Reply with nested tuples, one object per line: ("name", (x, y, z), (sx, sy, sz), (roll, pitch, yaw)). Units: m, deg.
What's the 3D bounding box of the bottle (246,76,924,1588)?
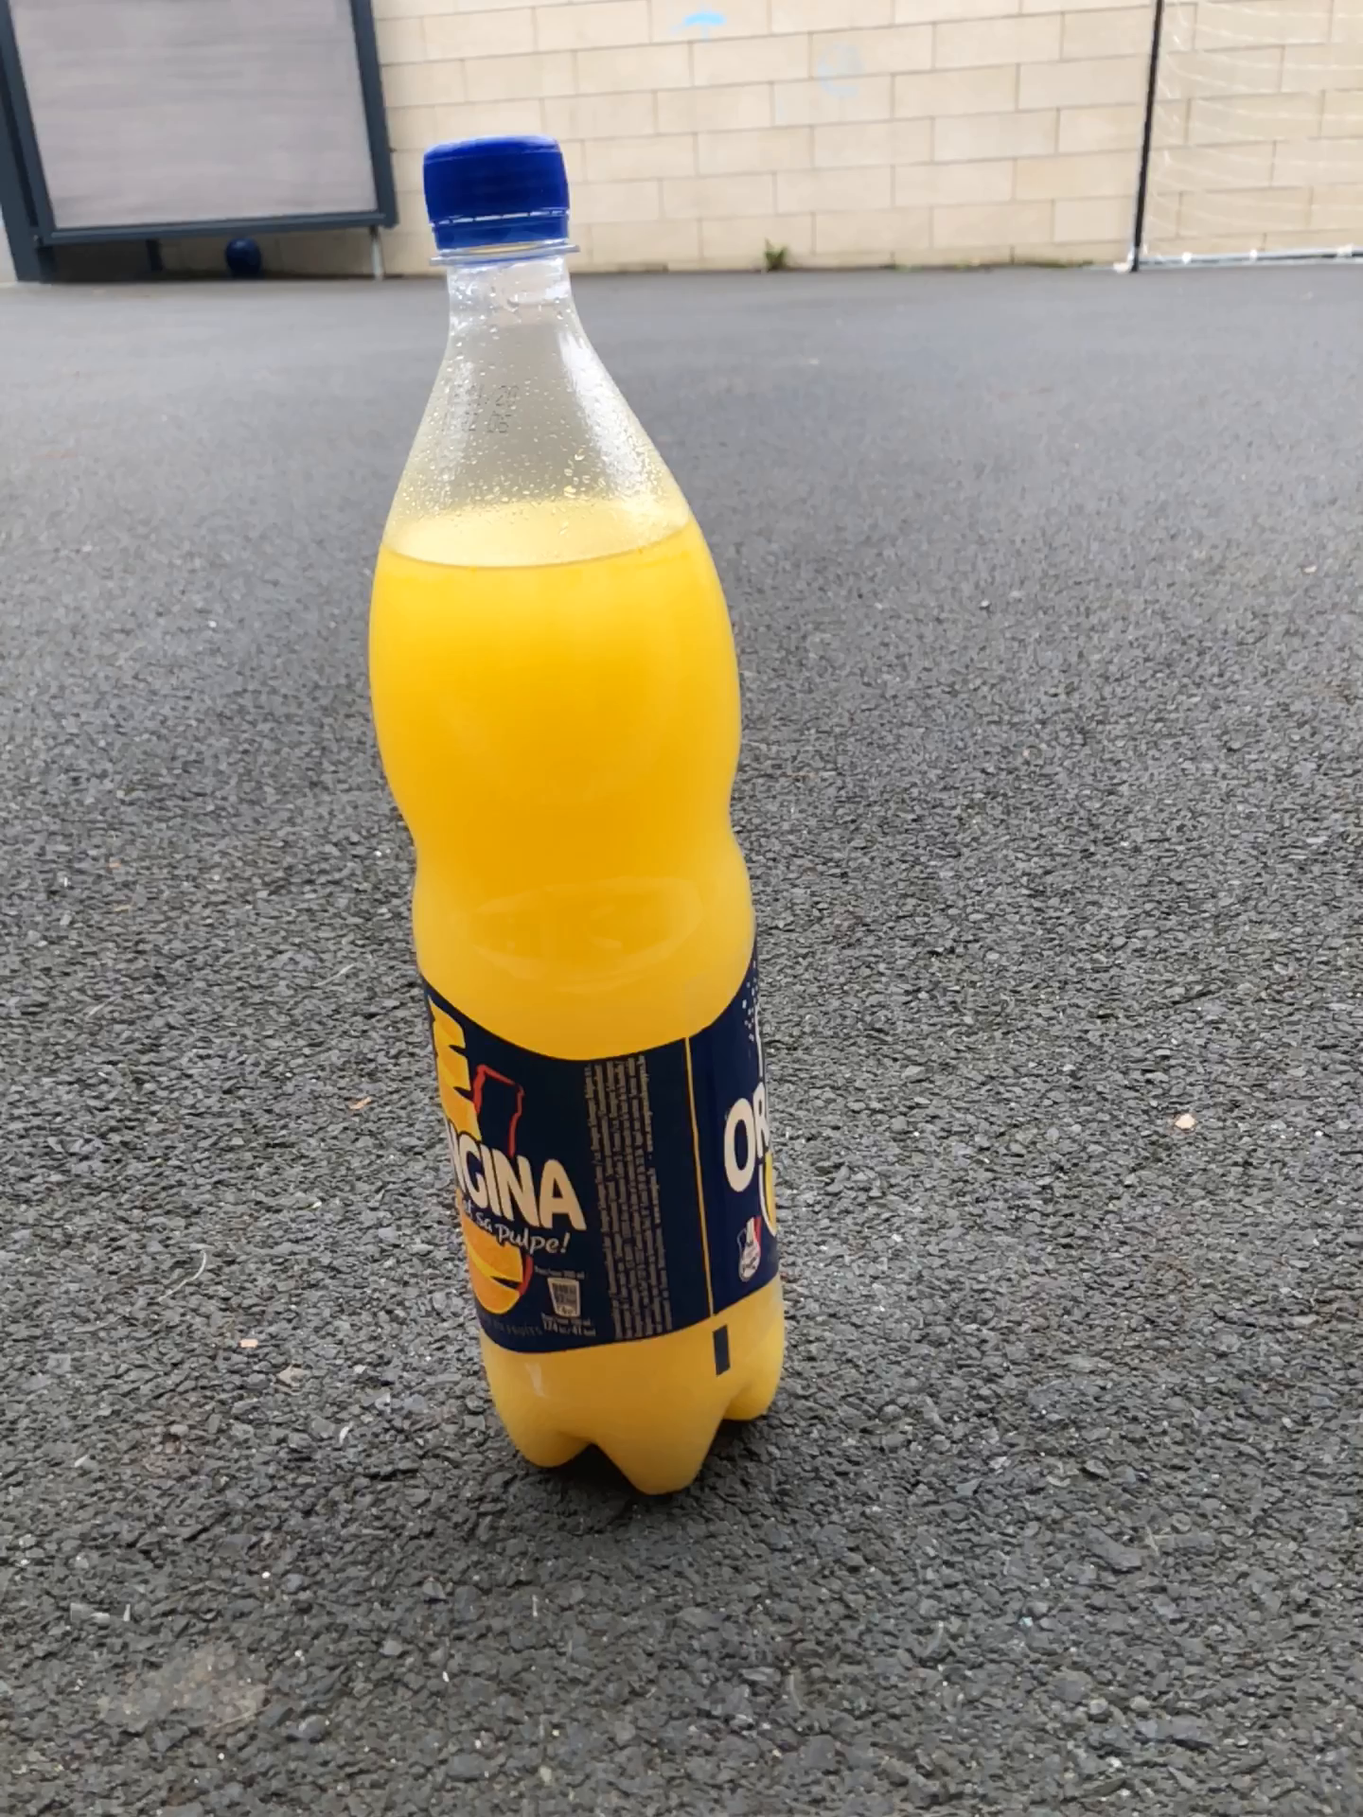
("bottle", (-0.013, -0.008, 0.371), (0.100, 0.338, 0.100), (-3, 27, 2))
